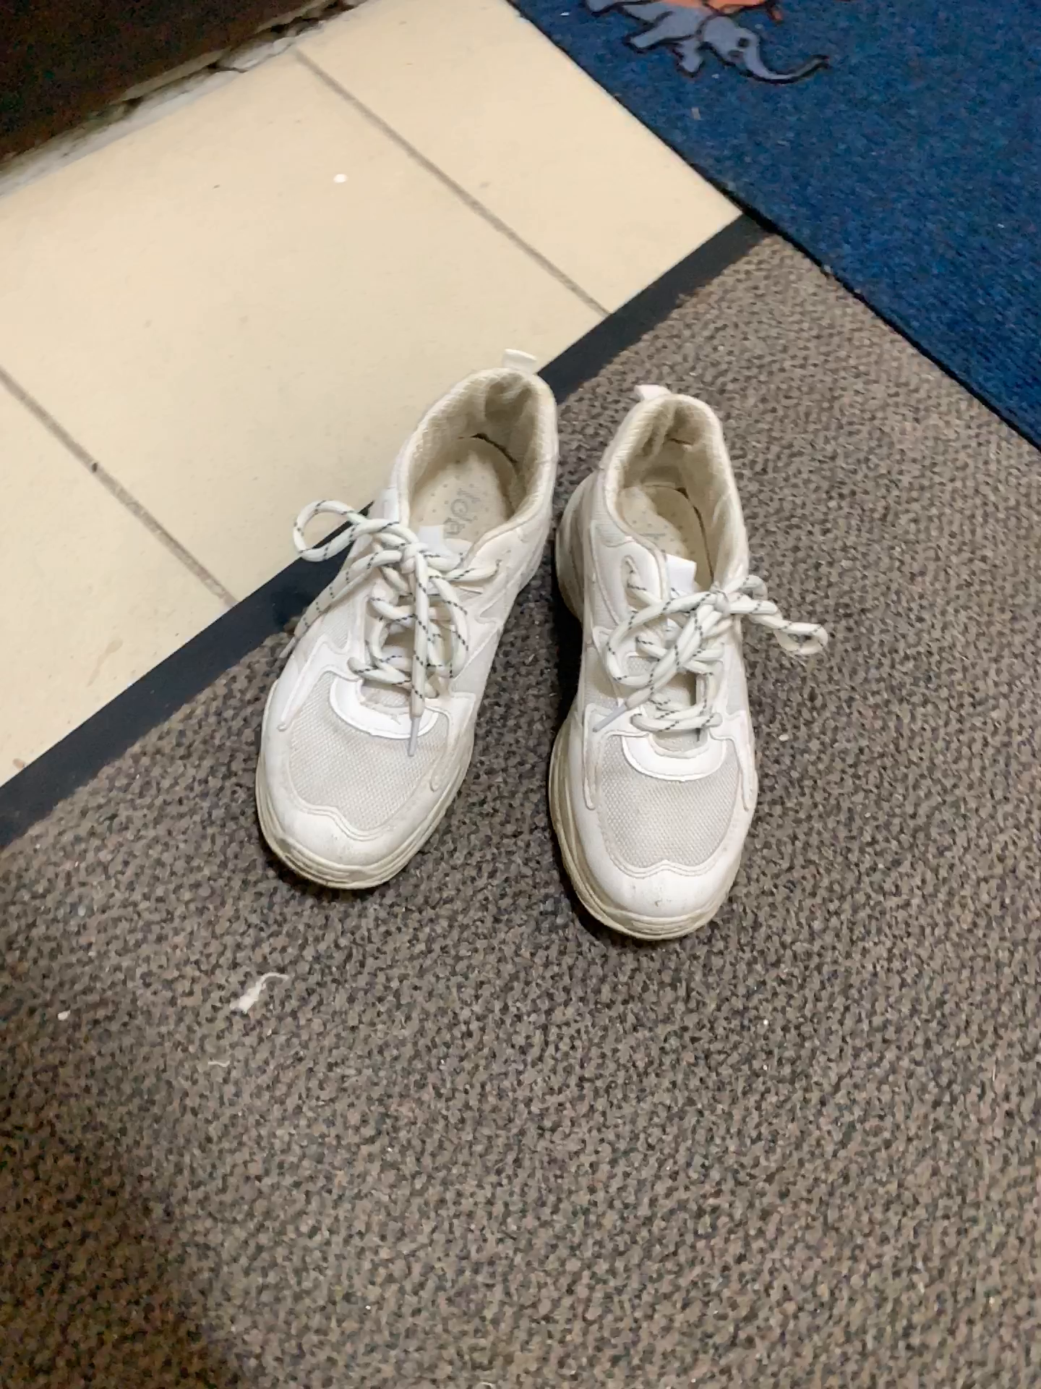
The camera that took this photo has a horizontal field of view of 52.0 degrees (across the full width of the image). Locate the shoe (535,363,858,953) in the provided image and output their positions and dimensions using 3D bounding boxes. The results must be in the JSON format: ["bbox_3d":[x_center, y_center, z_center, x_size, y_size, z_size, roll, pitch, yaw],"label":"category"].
[{"bbox_3d":[0.069,-0.012,0.499,0.100,0.140,0.230,5,65,-6],"label":"shoe"}]

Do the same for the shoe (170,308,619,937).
[{"bbox_3d":[-0.049,-0.030,0.488,0.100,0.140,0.230,20,64,1],"label":"shoe"}]
